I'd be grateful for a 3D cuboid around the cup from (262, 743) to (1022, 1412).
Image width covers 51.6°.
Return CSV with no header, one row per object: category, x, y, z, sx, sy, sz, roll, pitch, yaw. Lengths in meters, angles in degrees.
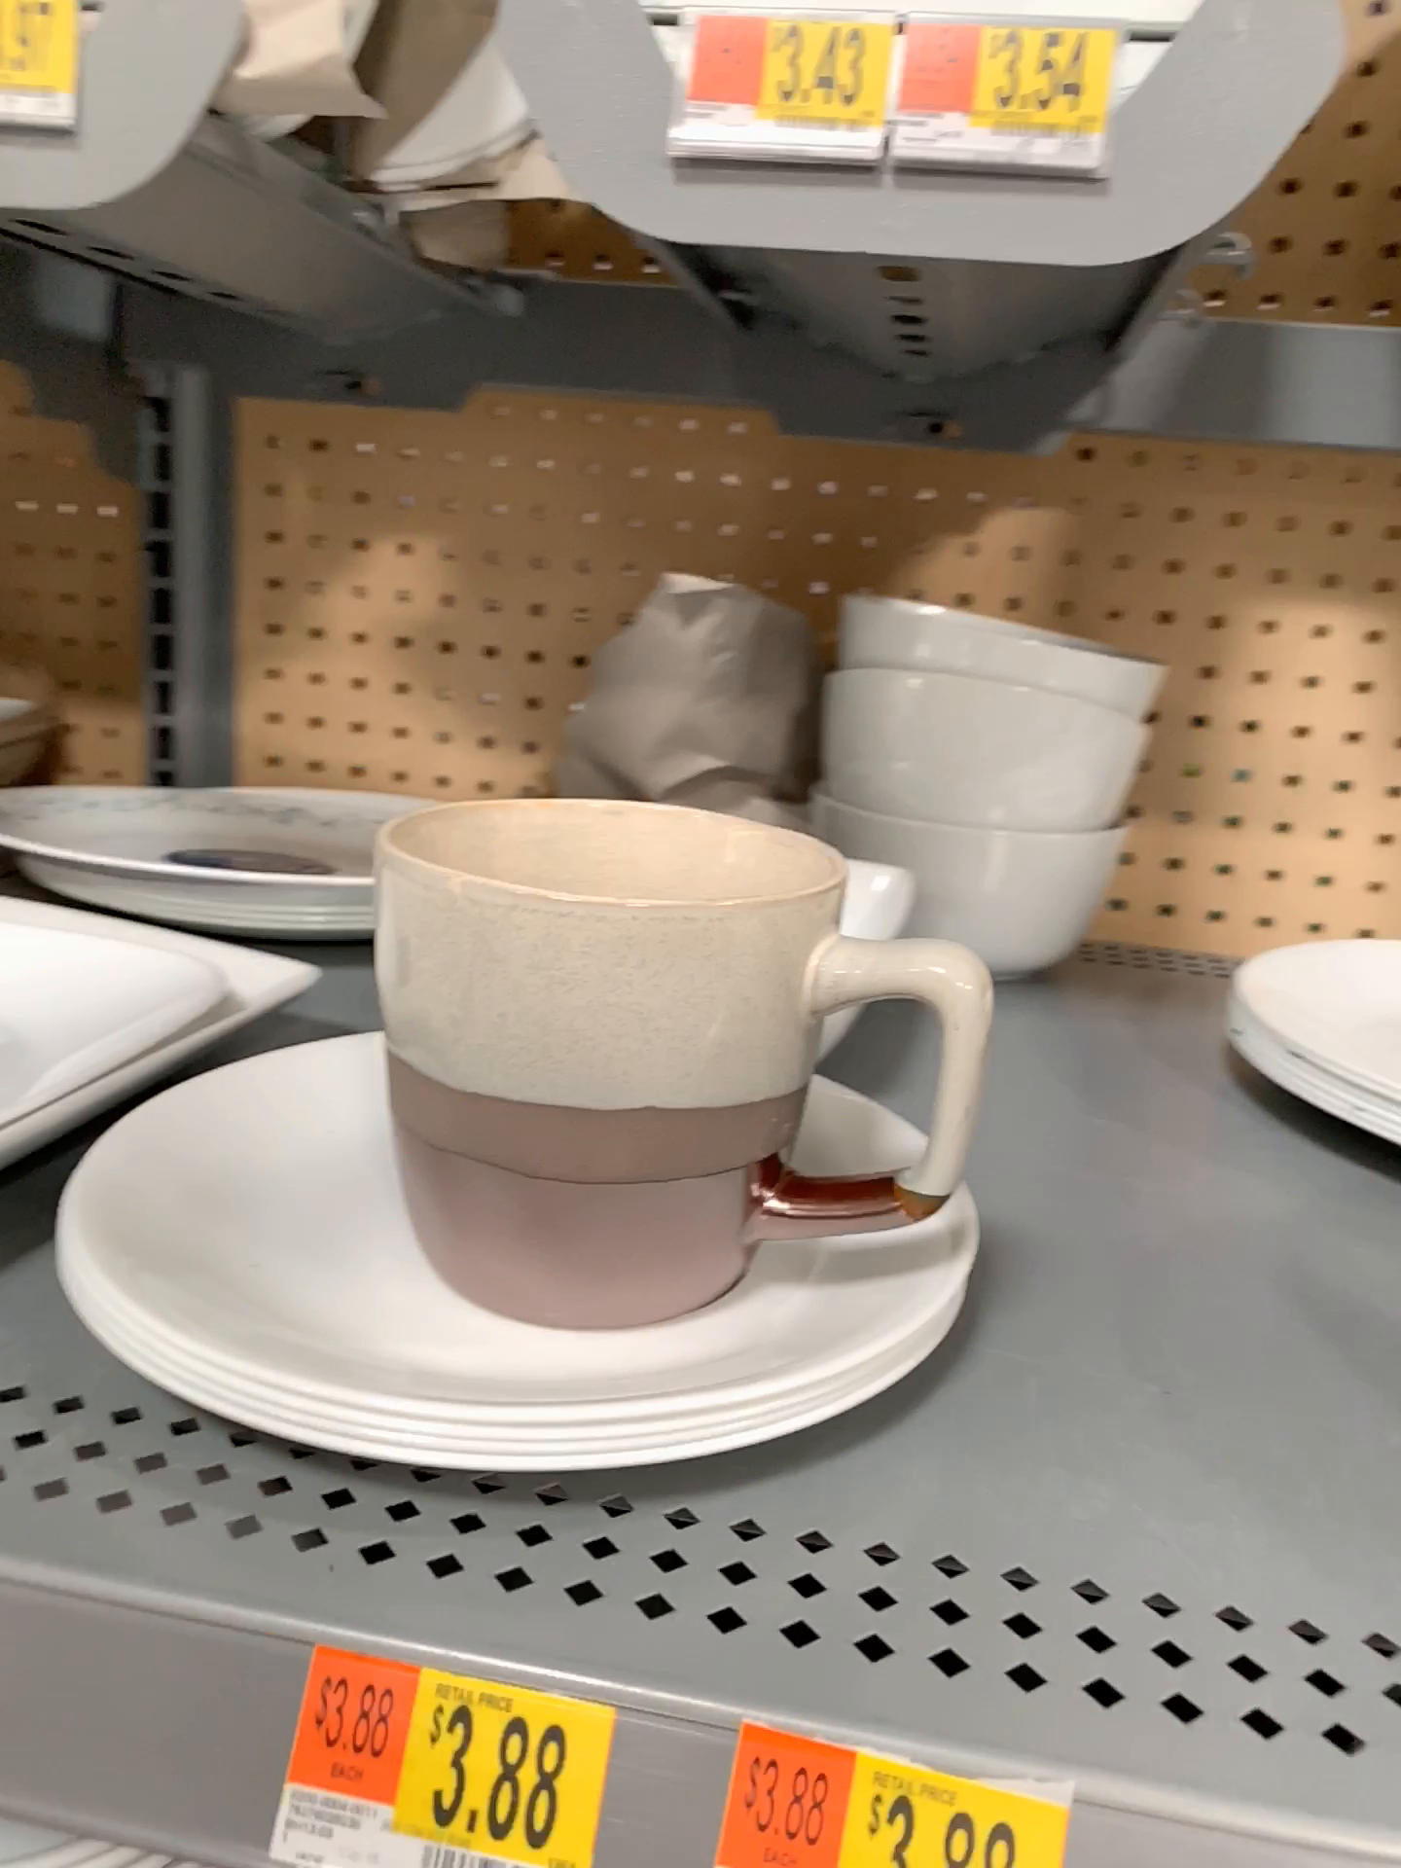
cup,-0.006,0.020,0.319,0.138,0.096,0.107,8,16,11
